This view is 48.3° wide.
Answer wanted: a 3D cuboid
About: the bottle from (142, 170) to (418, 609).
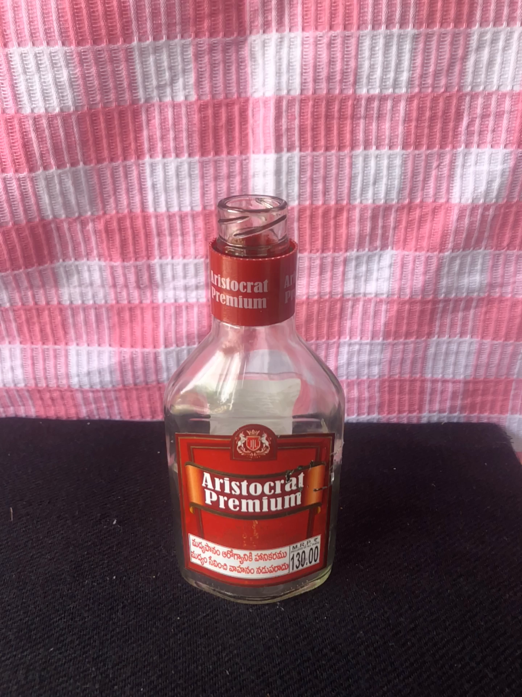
[{"bbox_3d":[0.003,0.020,0.206,0.070,0.149,0.050,1,29,-1],"label":"bottle"}]
